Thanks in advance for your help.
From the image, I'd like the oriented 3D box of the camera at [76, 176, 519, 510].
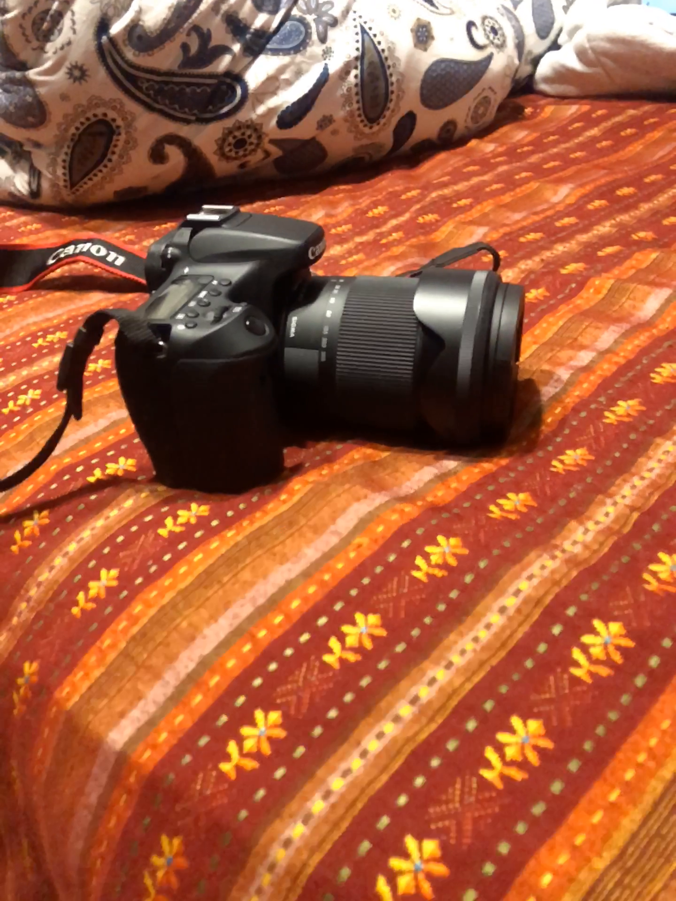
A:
[{"bbox_3d":[-0.002,-0.055,0.352,0.170,0.099,0.131,1,36,14],"label":"camera"}]
